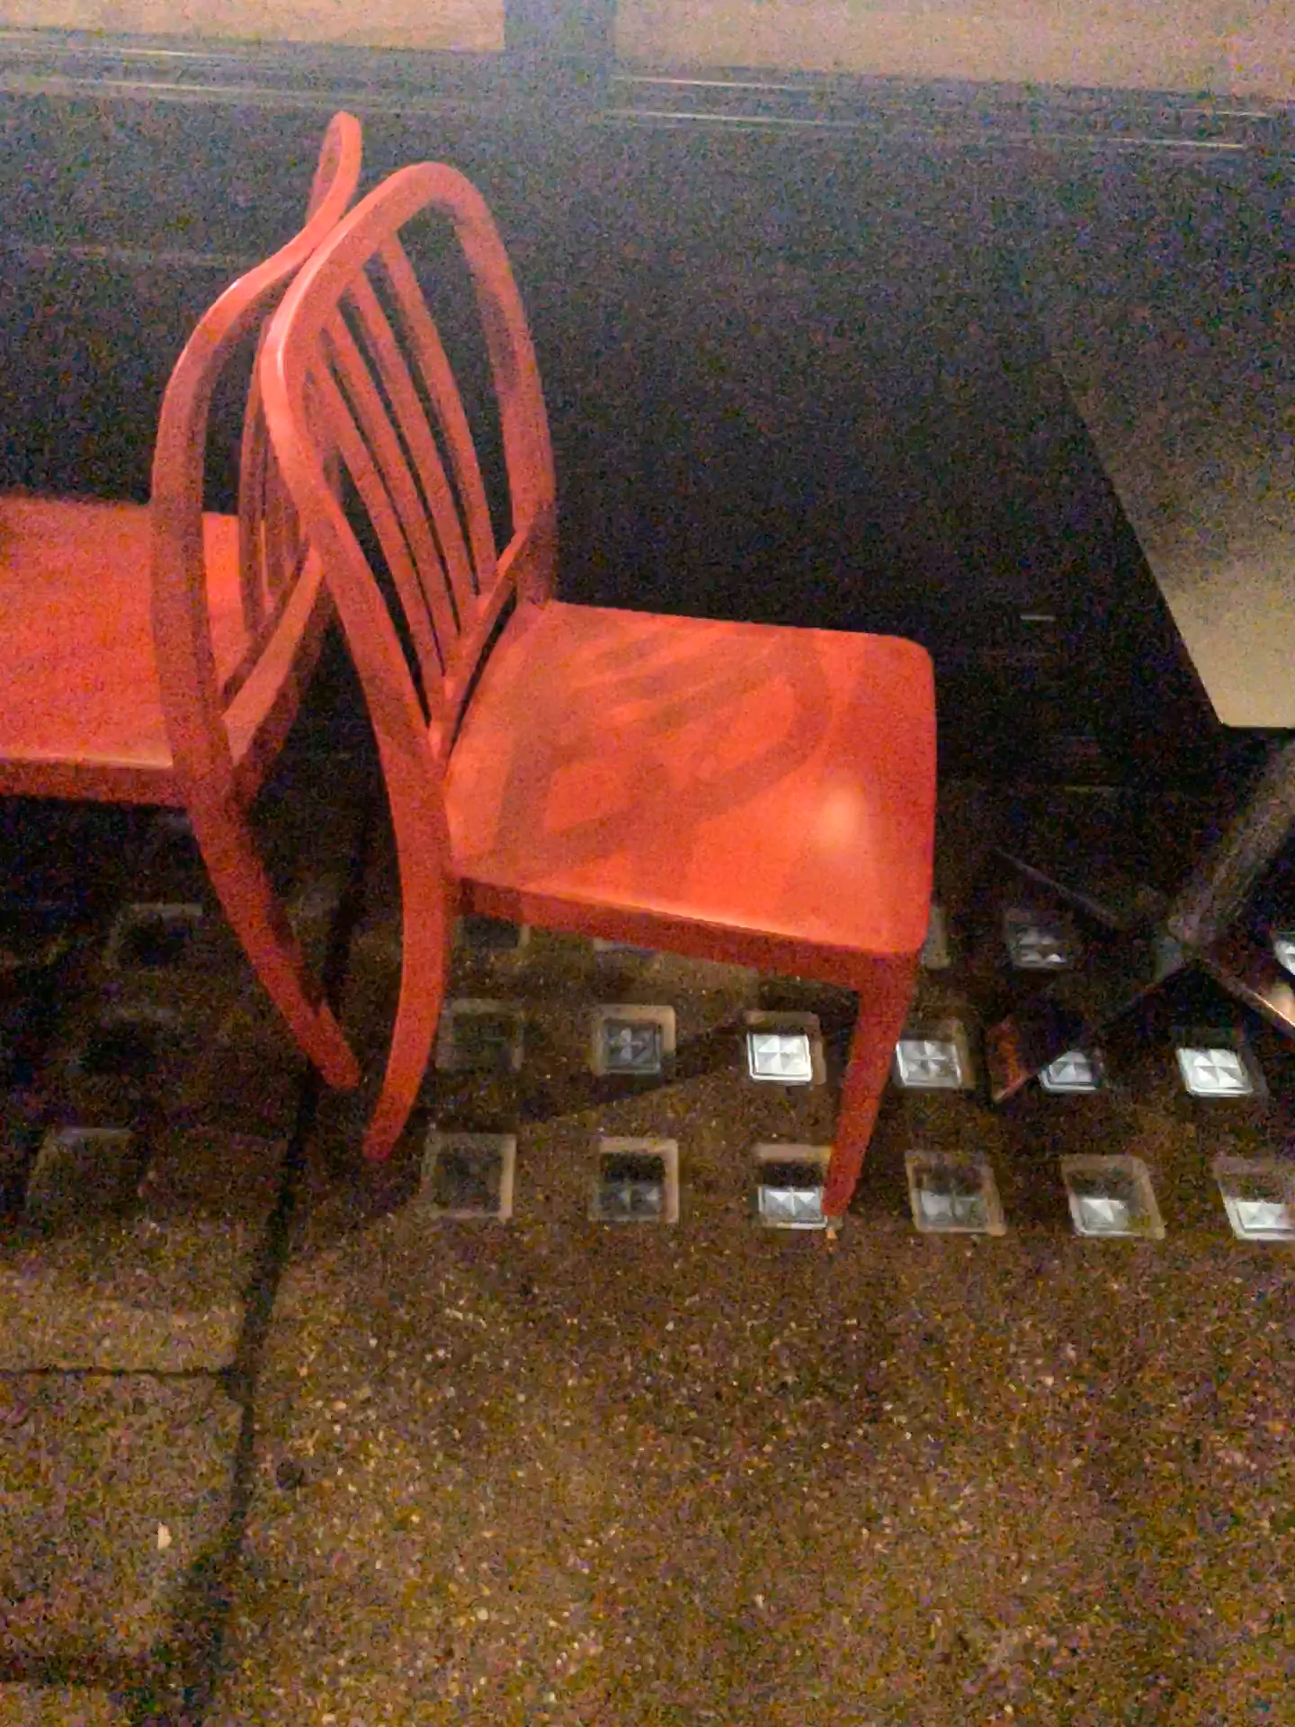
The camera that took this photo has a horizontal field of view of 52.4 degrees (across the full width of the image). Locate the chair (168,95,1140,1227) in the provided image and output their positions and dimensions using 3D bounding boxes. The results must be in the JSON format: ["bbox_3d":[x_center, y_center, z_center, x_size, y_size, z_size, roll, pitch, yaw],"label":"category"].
[{"bbox_3d":[0.000,-0.154,1.259,0.560,0.852,0.575,5,45,1],"label":"chair"}]

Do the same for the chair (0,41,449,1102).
[{"bbox_3d":[-0.524,-0.245,1.316,0.540,0.852,0.545,2,45,-2],"label":"chair"}]
